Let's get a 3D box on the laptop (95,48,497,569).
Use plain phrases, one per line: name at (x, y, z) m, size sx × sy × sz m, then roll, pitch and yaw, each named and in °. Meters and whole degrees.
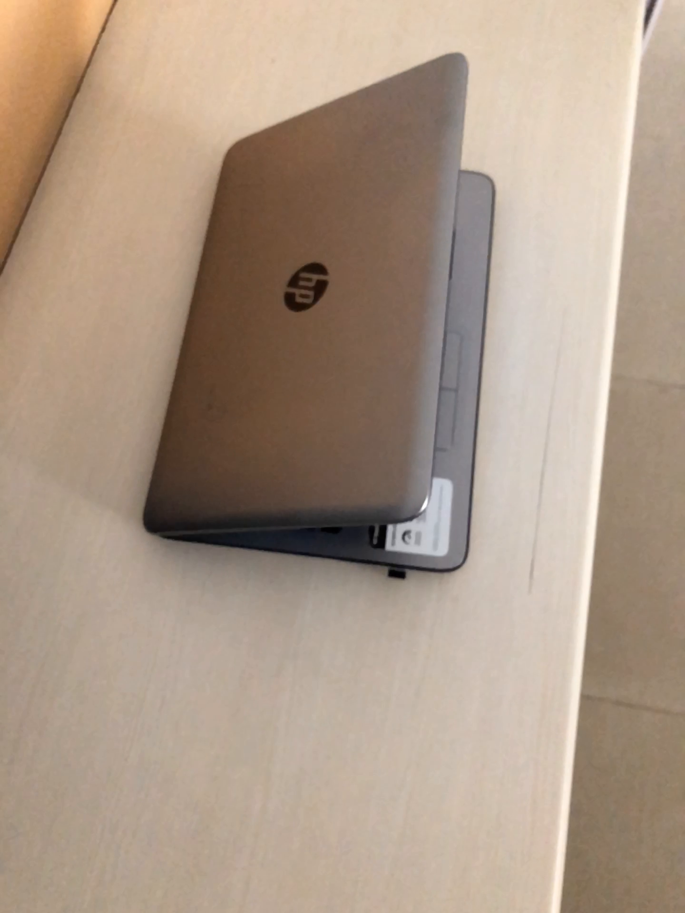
laptop at (-0.014, -0.121, 0.590) m, size 0.238 × 0.133 × 0.364 m, roll 5°, pitch 68°, yaw 5°
